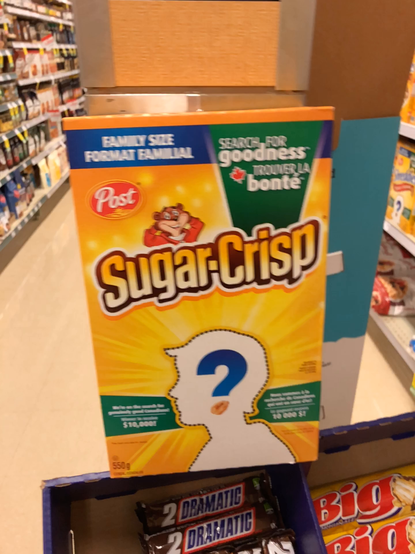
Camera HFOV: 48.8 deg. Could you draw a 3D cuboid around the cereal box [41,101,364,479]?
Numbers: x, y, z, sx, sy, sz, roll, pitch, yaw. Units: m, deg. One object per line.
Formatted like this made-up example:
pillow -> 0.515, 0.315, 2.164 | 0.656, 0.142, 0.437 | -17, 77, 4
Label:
cereal box -> 0.001, 0.014, 0.395 | 0.220, 0.299, 0.080 | -3, 18, -4
